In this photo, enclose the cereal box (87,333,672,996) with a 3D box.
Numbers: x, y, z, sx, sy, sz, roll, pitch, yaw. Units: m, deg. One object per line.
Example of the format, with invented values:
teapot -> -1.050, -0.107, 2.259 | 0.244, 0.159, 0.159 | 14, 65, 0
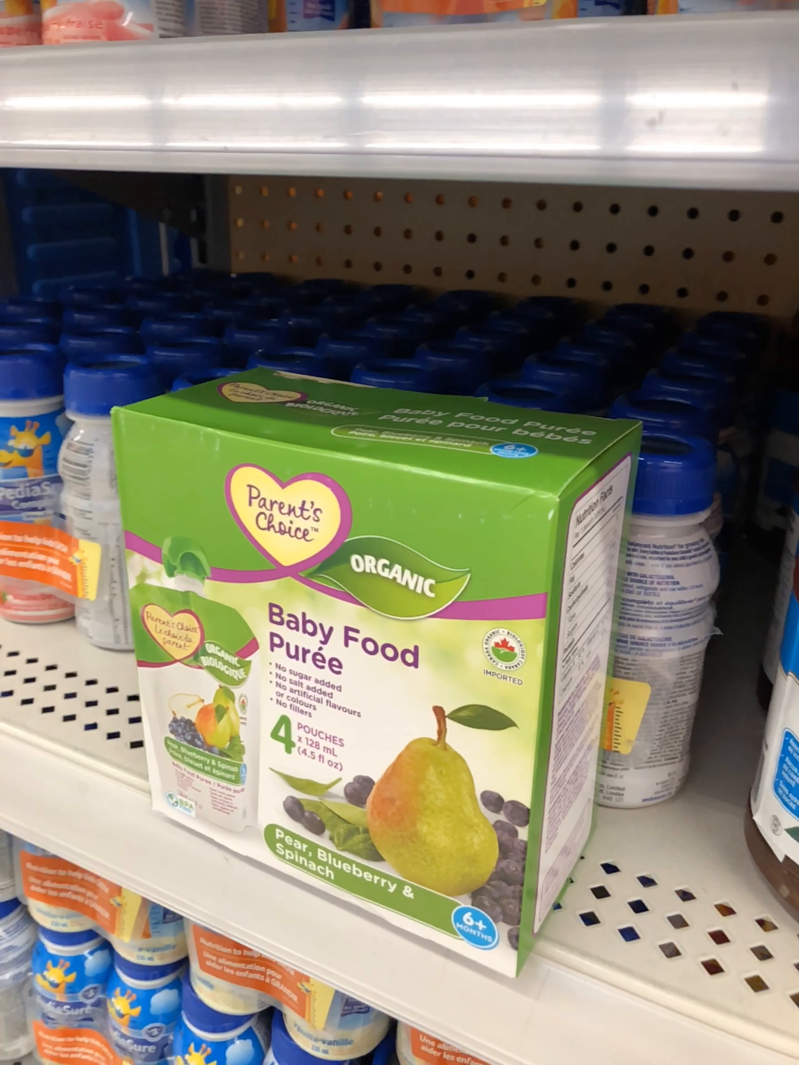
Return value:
cereal box -> -0.007, 0.030, 0.296 | 0.150, 0.159, 0.090 | 14, 26, 25
